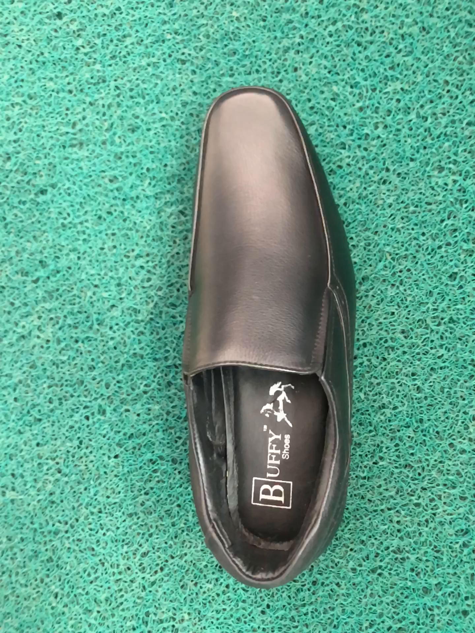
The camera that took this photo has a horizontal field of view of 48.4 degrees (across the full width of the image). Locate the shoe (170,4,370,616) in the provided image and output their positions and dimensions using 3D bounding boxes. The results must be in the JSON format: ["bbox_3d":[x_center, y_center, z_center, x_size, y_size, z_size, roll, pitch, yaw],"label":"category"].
[{"bbox_3d":[0.023,-0.003,0.320,0.100,0.090,0.310,-1,90,10],"label":"shoe"}]
